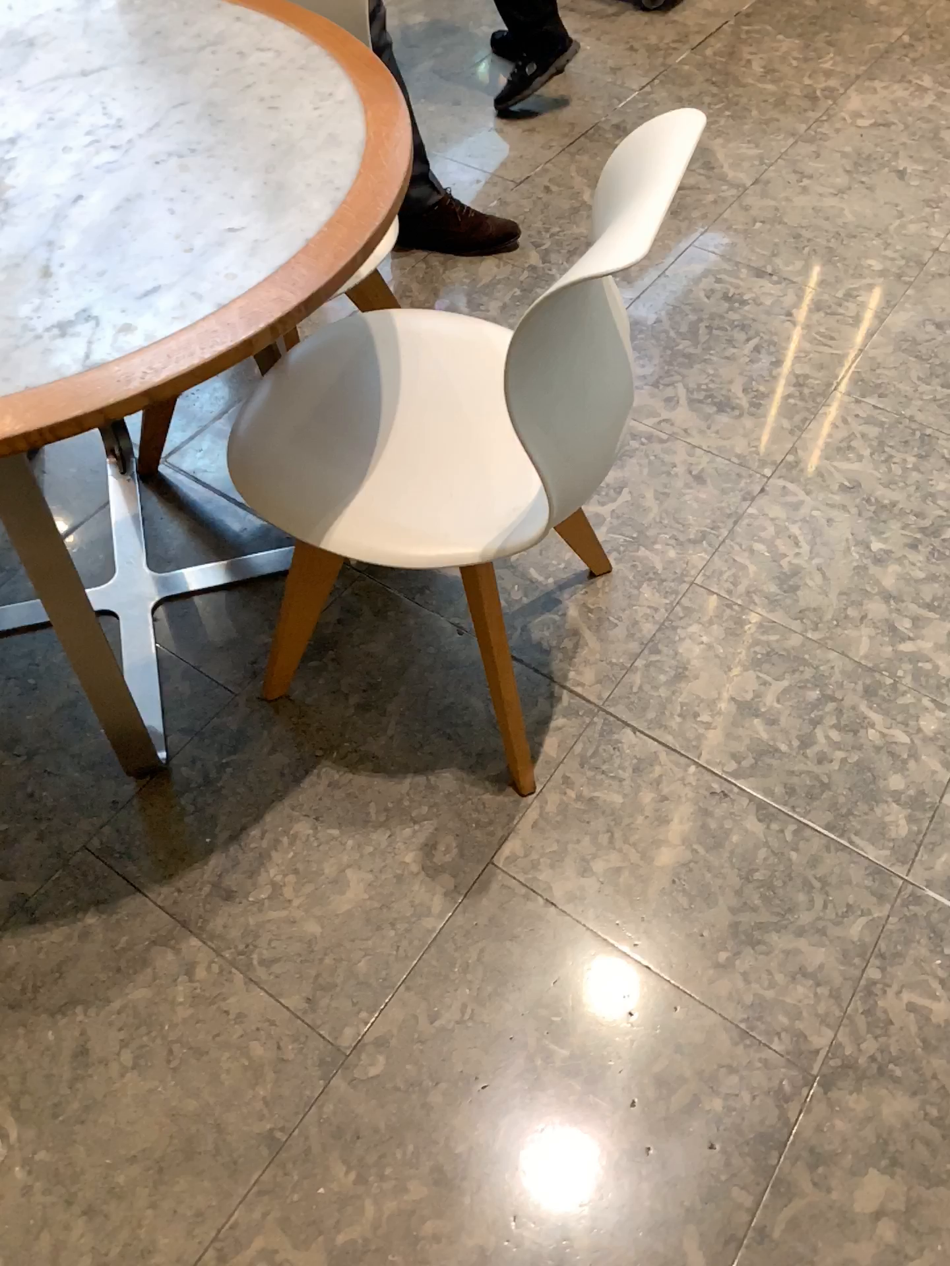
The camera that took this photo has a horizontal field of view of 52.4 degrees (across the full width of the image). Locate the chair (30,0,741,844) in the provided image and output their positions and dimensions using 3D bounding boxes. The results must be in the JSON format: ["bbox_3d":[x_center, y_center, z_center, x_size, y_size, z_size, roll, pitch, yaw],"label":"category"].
[{"bbox_3d":[-0.054,-0.215,1.306,0.541,0.912,0.504,16,55,12],"label":"chair"}]
